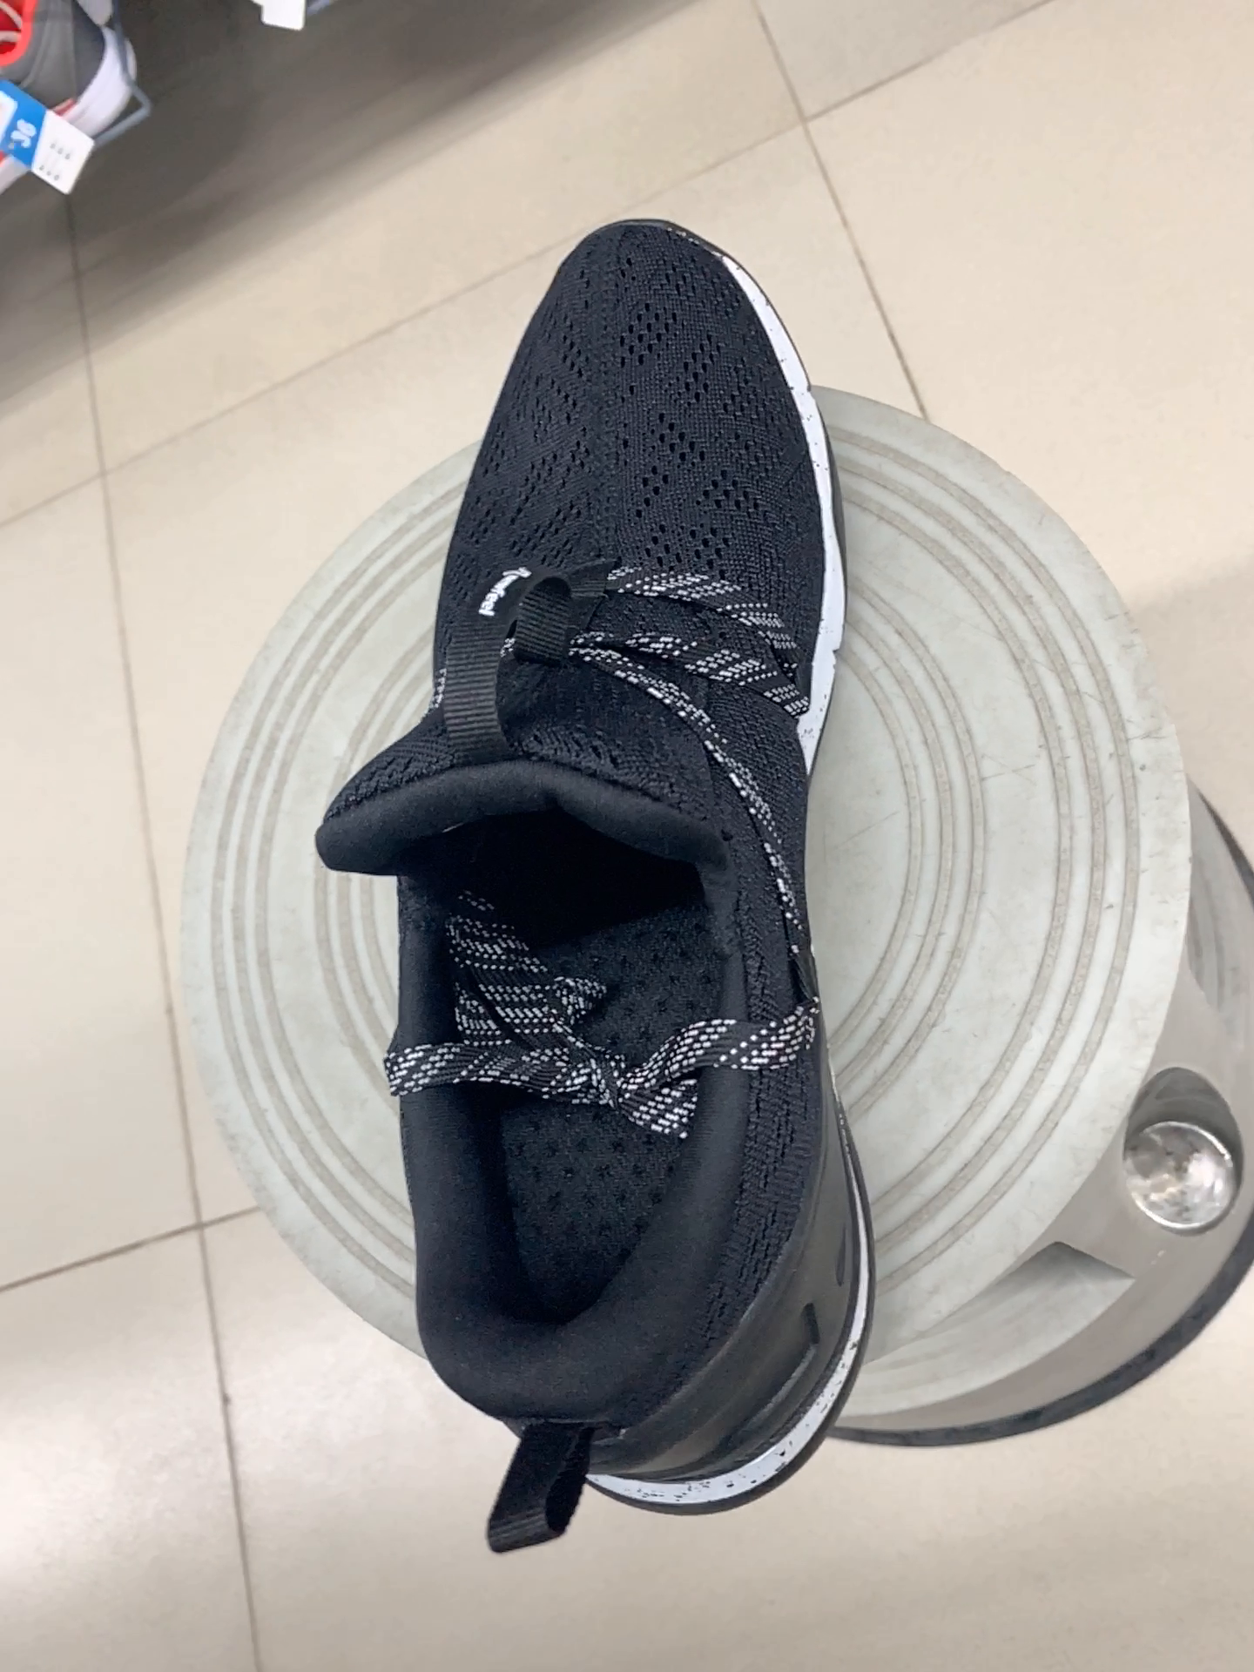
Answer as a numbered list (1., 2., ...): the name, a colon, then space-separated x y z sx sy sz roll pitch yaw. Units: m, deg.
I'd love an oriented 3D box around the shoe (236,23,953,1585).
1. shoe: -0.003 -0.015 0.278 0.100 0.090 0.290 -9 68 18
